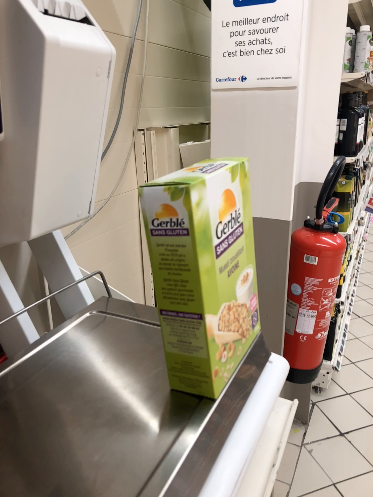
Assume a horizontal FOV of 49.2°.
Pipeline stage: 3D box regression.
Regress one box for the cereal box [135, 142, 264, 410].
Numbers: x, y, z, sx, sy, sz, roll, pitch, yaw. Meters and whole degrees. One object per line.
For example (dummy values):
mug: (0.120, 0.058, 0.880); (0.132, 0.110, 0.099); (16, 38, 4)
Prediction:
cereal box: (0.028, 0.018, 0.423); (0.050, 0.229, 0.151); (3, 21, 28)
